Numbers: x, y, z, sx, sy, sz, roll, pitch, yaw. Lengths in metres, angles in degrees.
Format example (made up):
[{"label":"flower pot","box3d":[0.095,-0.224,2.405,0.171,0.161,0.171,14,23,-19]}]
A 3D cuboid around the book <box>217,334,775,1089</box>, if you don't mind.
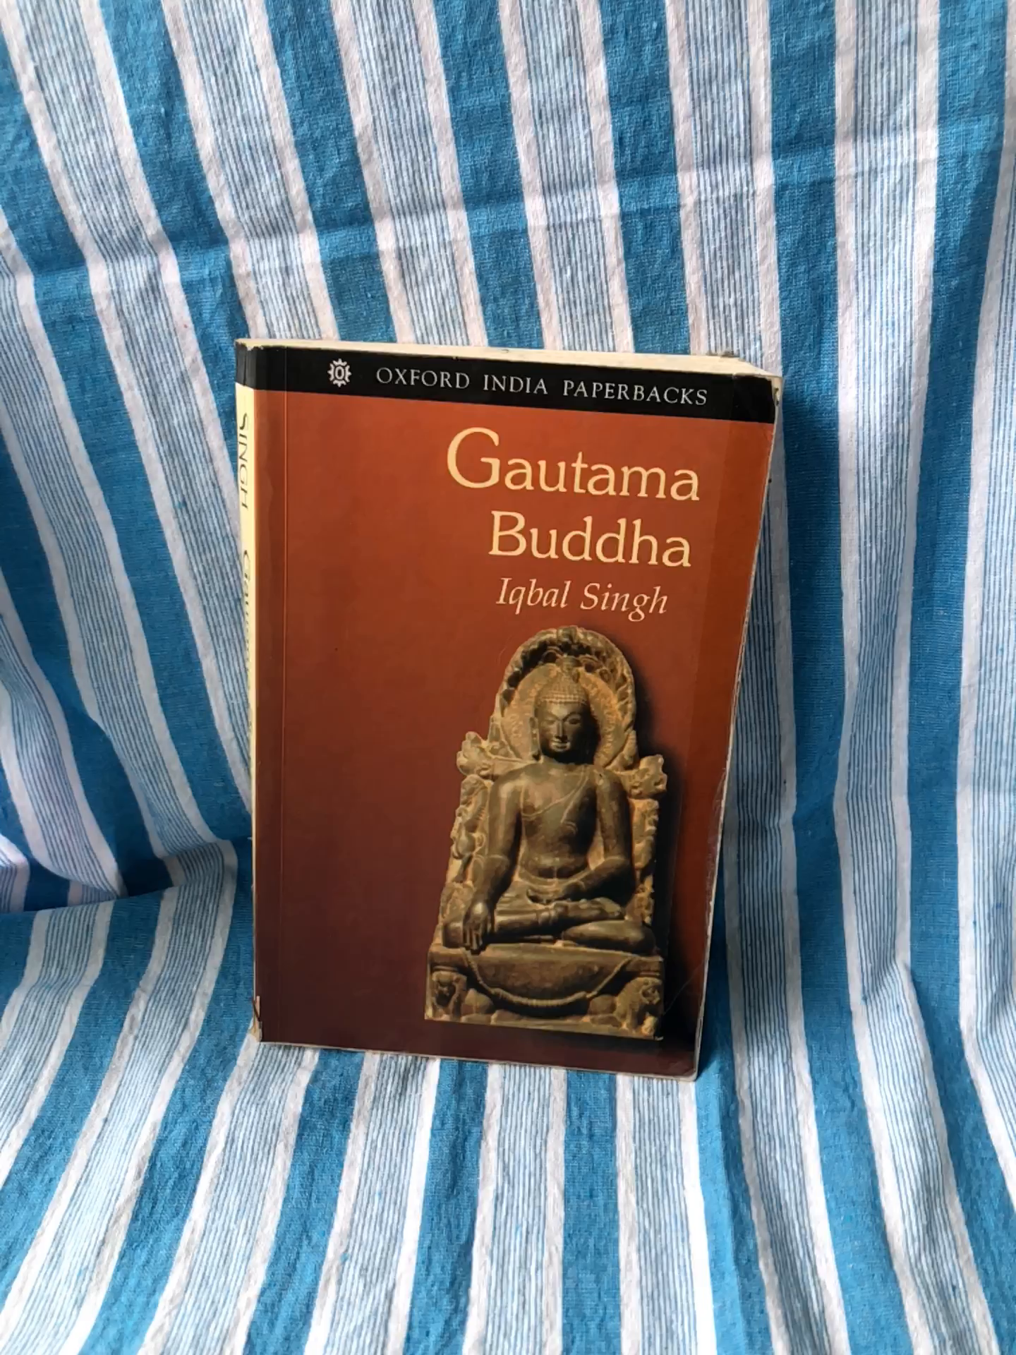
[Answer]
[{"label":"book","box3d":[-0.006,0.012,0.329,0.140,0.209,0.040,3,16,4]}]
